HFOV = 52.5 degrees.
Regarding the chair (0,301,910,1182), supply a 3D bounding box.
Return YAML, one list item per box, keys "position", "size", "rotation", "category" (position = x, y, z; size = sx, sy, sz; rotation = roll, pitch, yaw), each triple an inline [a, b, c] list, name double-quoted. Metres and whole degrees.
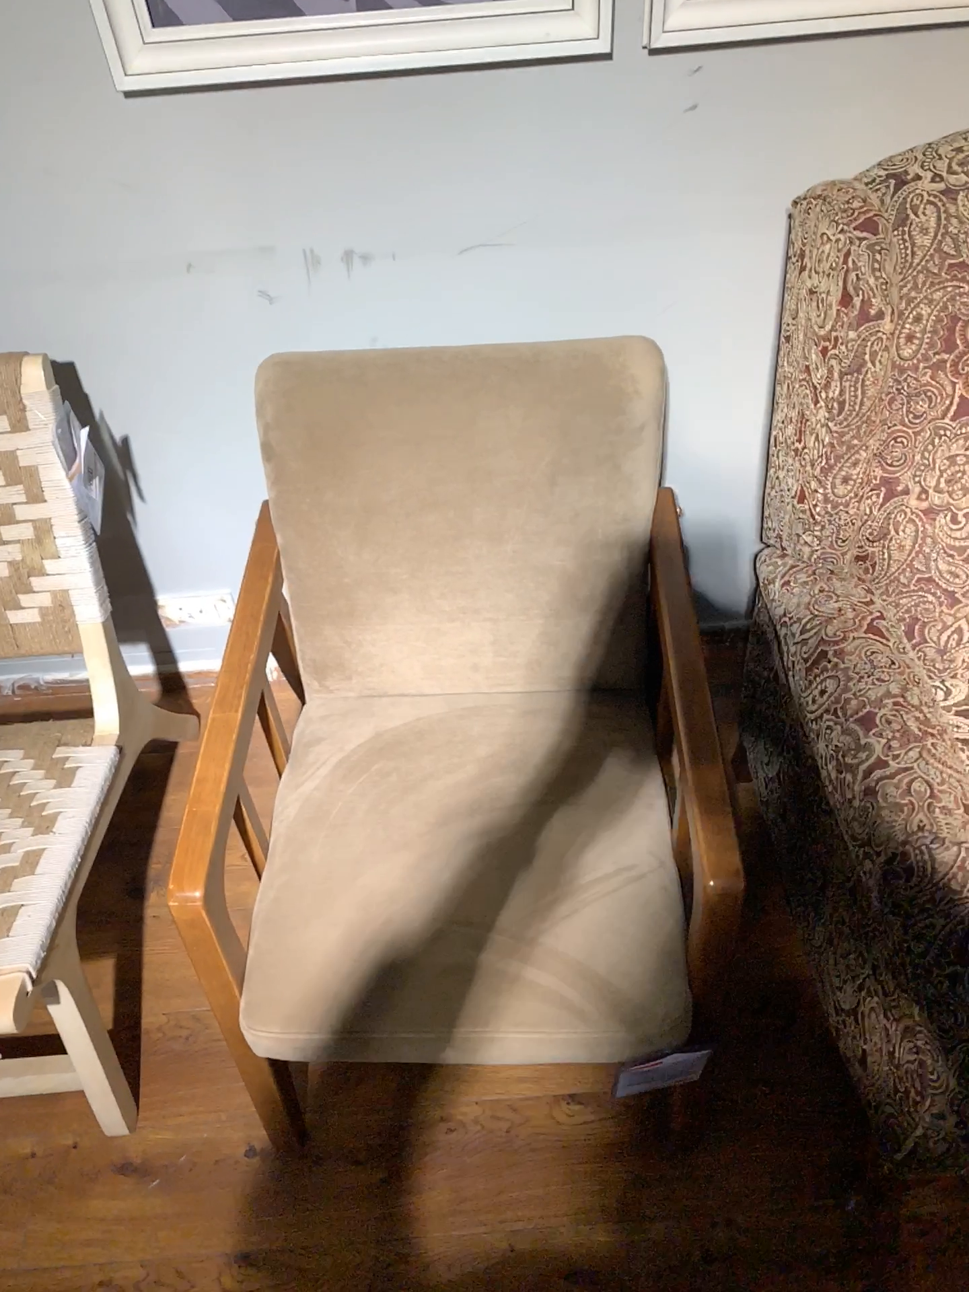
- position: [-0.030, 0.123, 1.305]
  size: [0.720, 0.737, 0.873]
  rotation: [-2, 48, 2]
  category: "chair"
